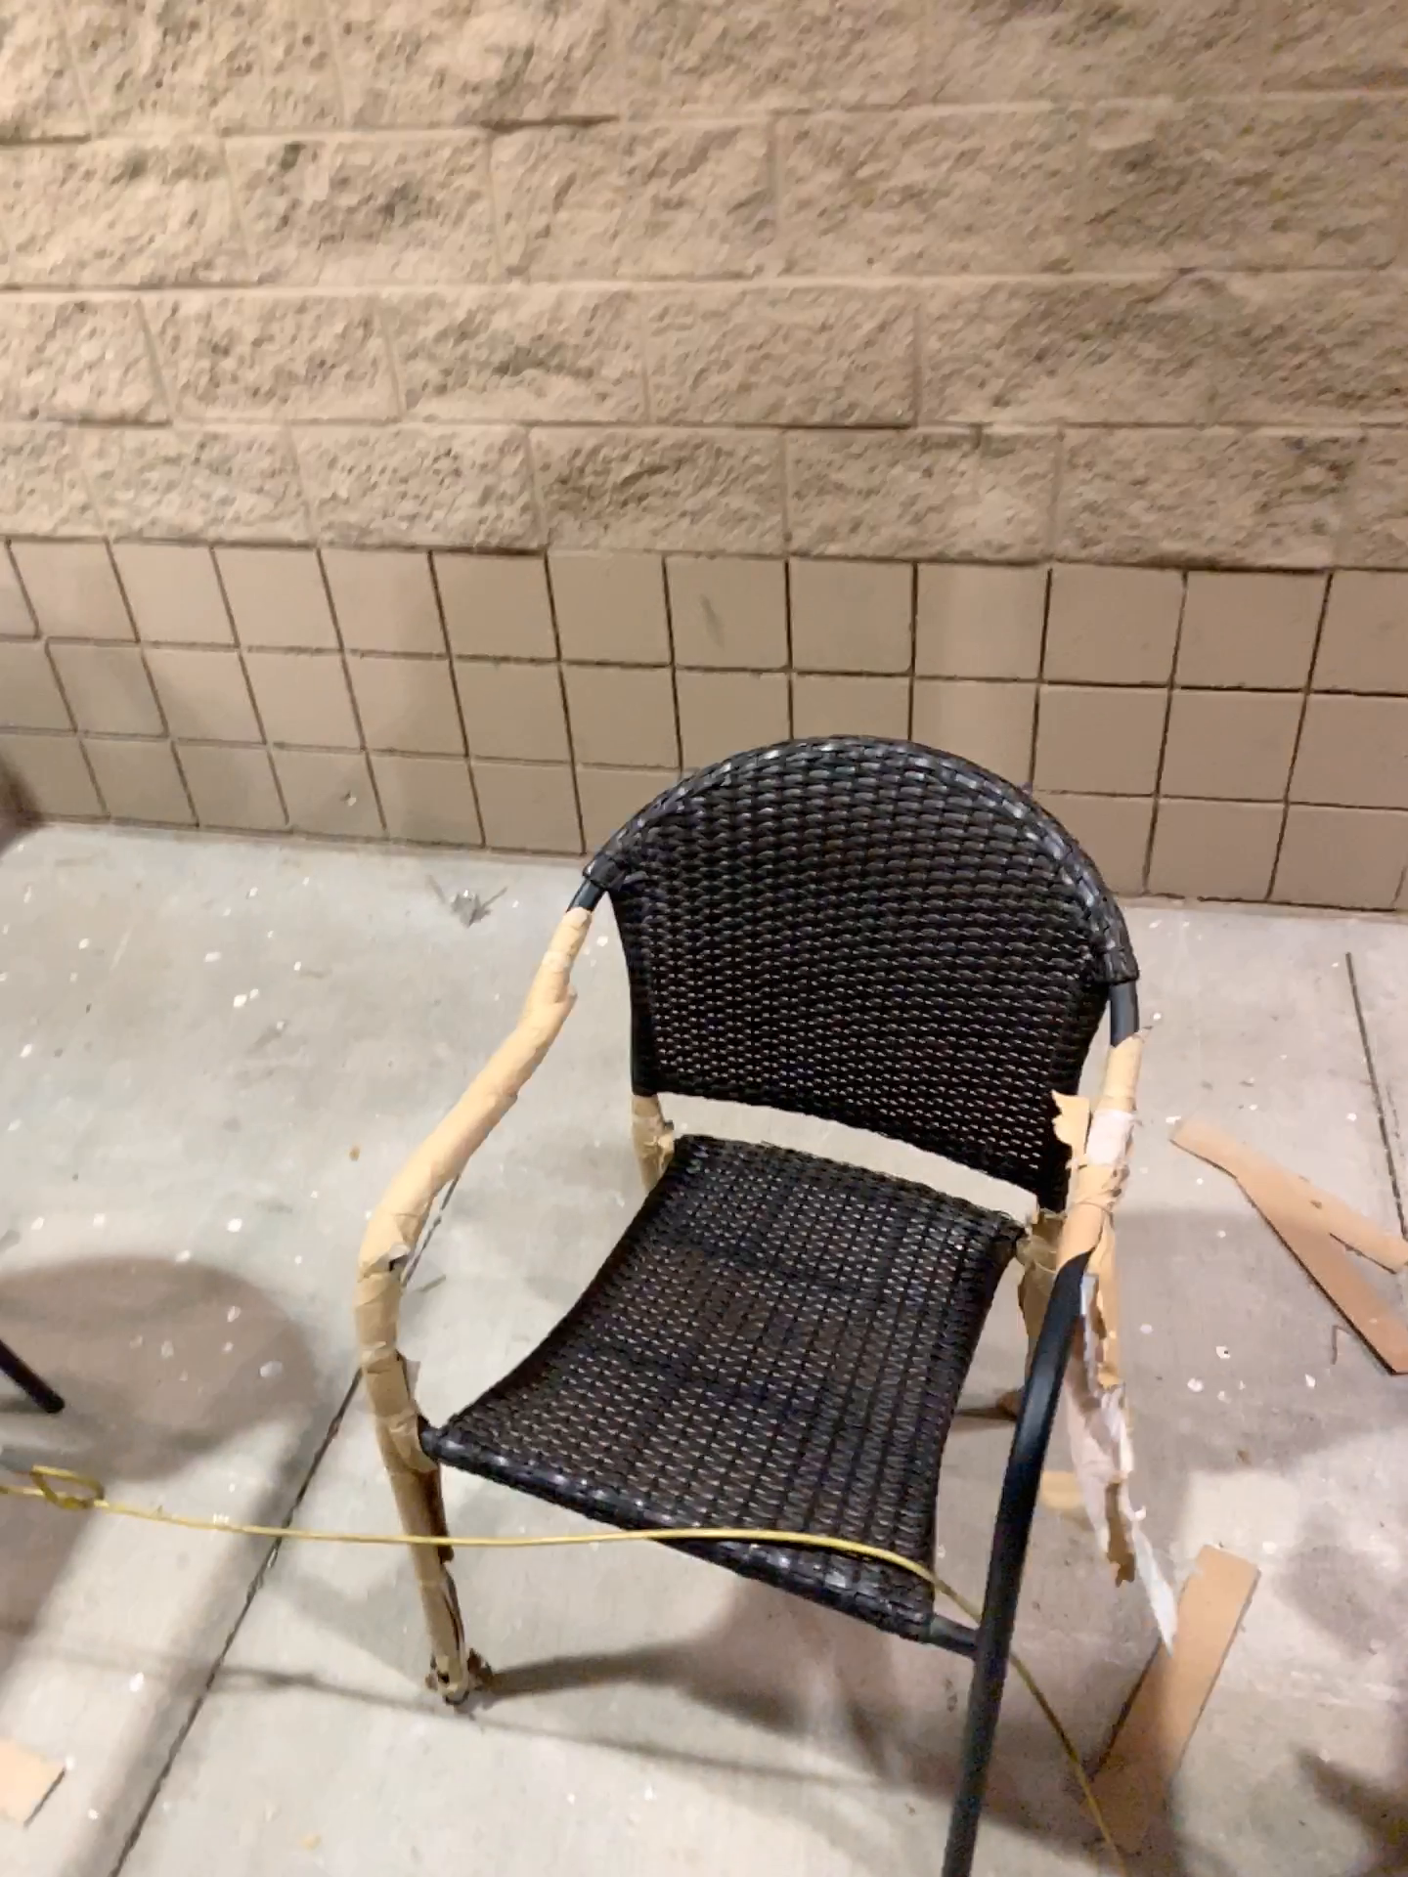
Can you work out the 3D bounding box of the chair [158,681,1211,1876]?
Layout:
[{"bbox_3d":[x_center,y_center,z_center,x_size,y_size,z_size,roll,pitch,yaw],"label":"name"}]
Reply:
[{"bbox_3d":[0.056,0.318,1.278,0.576,0.840,0.599,11,39,20],"label":"chair"}]
